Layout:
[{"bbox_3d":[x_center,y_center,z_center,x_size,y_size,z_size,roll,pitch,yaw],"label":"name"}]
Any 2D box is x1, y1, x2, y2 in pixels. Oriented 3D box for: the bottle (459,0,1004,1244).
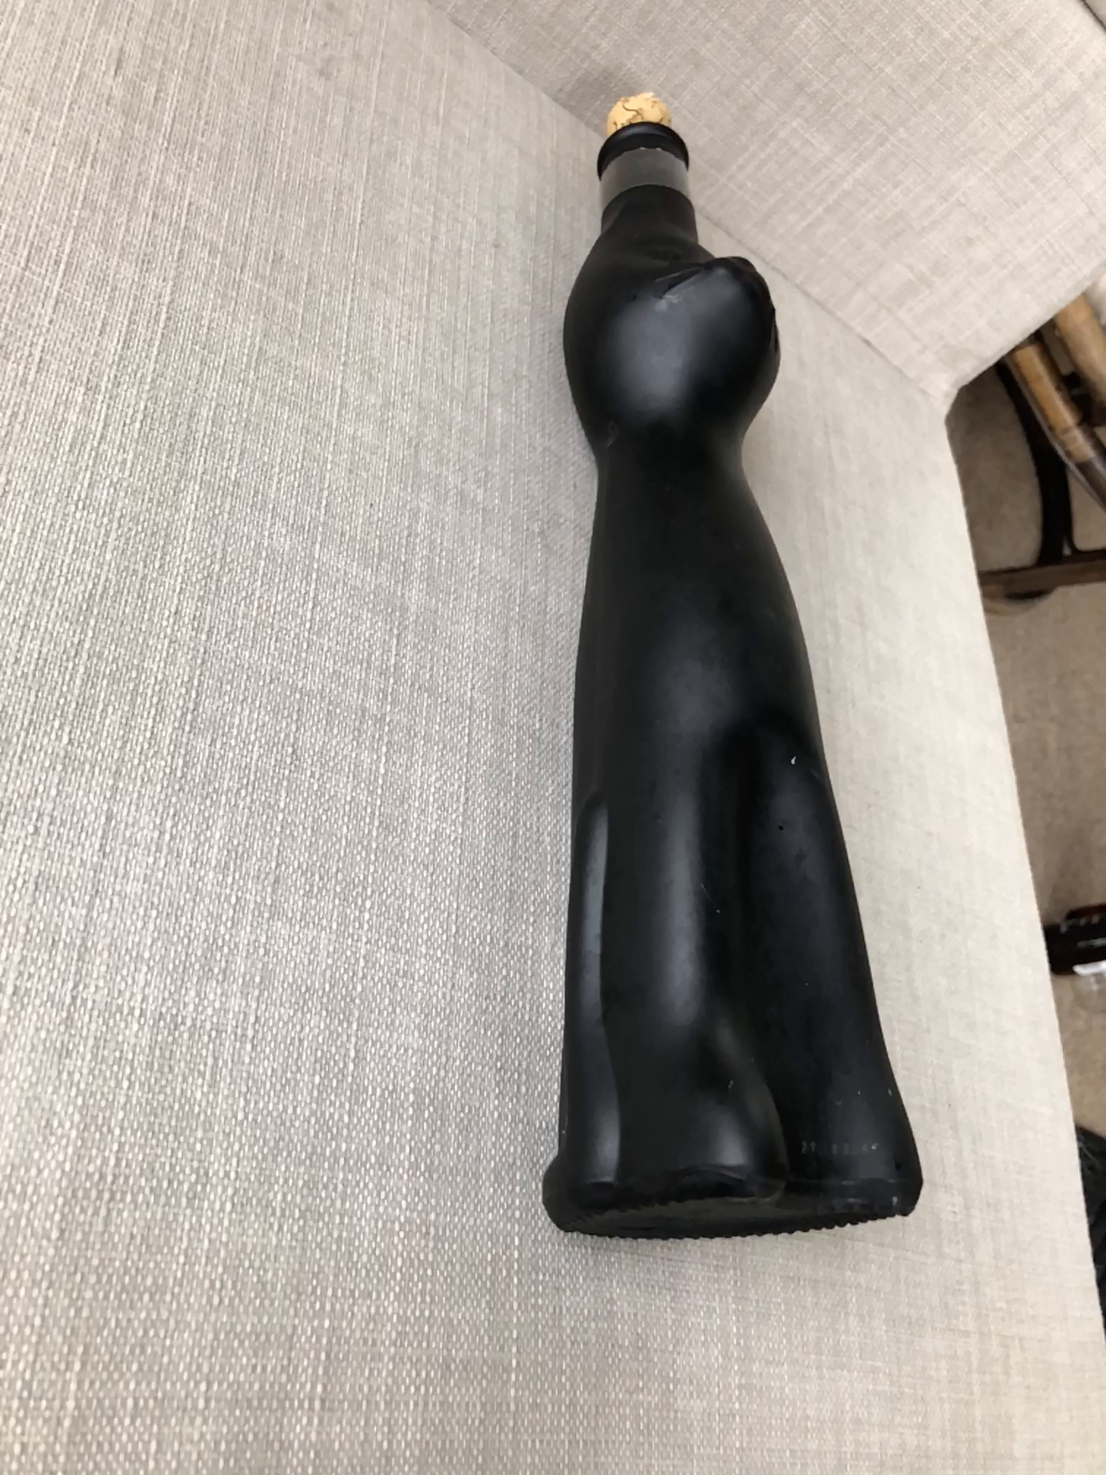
[{"bbox_3d":[0.037,-0.039,0.318,0.078,0.079,0.311,21,58,-37],"label":"bottle"}]
